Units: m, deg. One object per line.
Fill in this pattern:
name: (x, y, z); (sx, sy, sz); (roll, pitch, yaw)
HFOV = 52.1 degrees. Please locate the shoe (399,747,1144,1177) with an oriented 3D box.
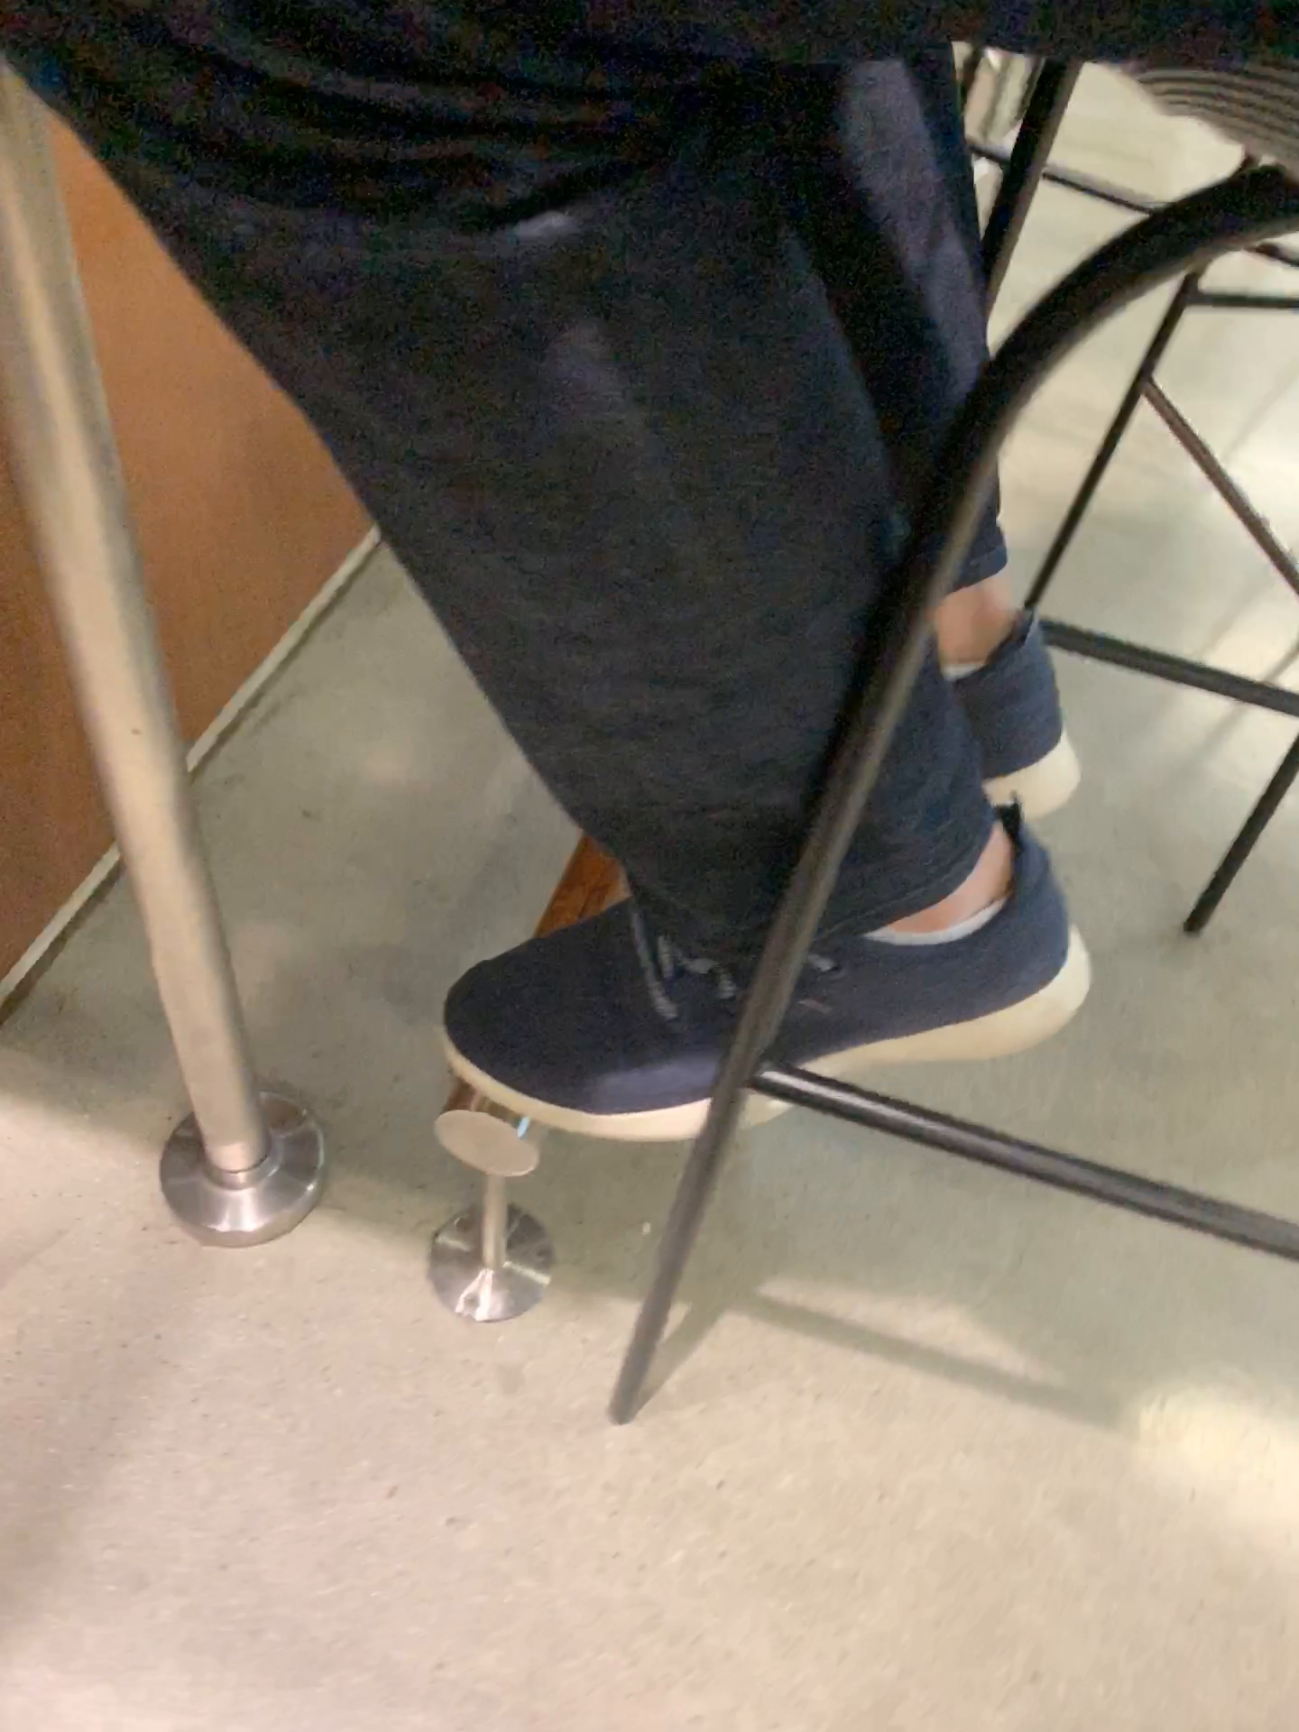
shoe: (0.048, 0.043, 0.606); (0.299, 0.093, 0.124); (-8, 45, 2)

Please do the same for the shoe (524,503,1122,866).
shoe: (0.093, -0.115, 0.760); (0.300, 0.093, 0.129); (18, 43, 26)
